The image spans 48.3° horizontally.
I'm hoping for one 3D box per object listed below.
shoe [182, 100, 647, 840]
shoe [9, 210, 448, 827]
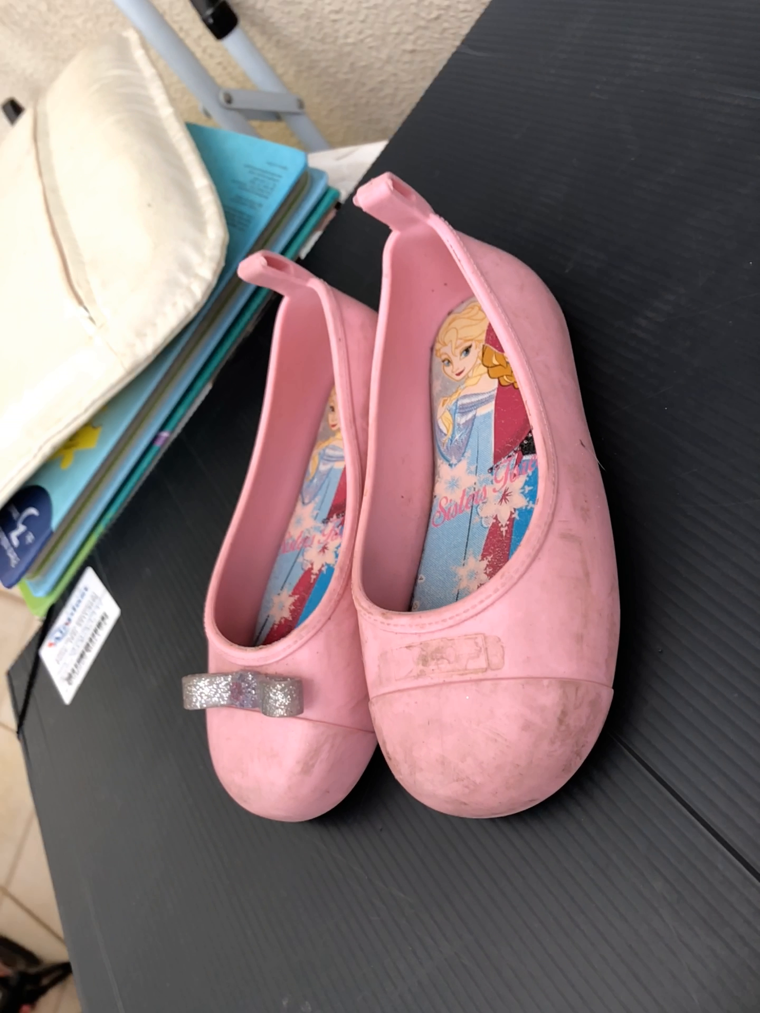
[{"bbox_3d":[0.013,-0.004,0.219,0.078,0.070,0.160,-13,63,35],"label":"shoe"},{"bbox_3d":[-0.040,0.006,0.263,0.078,0.070,0.160,-6,67,38],"label":"shoe"}]
